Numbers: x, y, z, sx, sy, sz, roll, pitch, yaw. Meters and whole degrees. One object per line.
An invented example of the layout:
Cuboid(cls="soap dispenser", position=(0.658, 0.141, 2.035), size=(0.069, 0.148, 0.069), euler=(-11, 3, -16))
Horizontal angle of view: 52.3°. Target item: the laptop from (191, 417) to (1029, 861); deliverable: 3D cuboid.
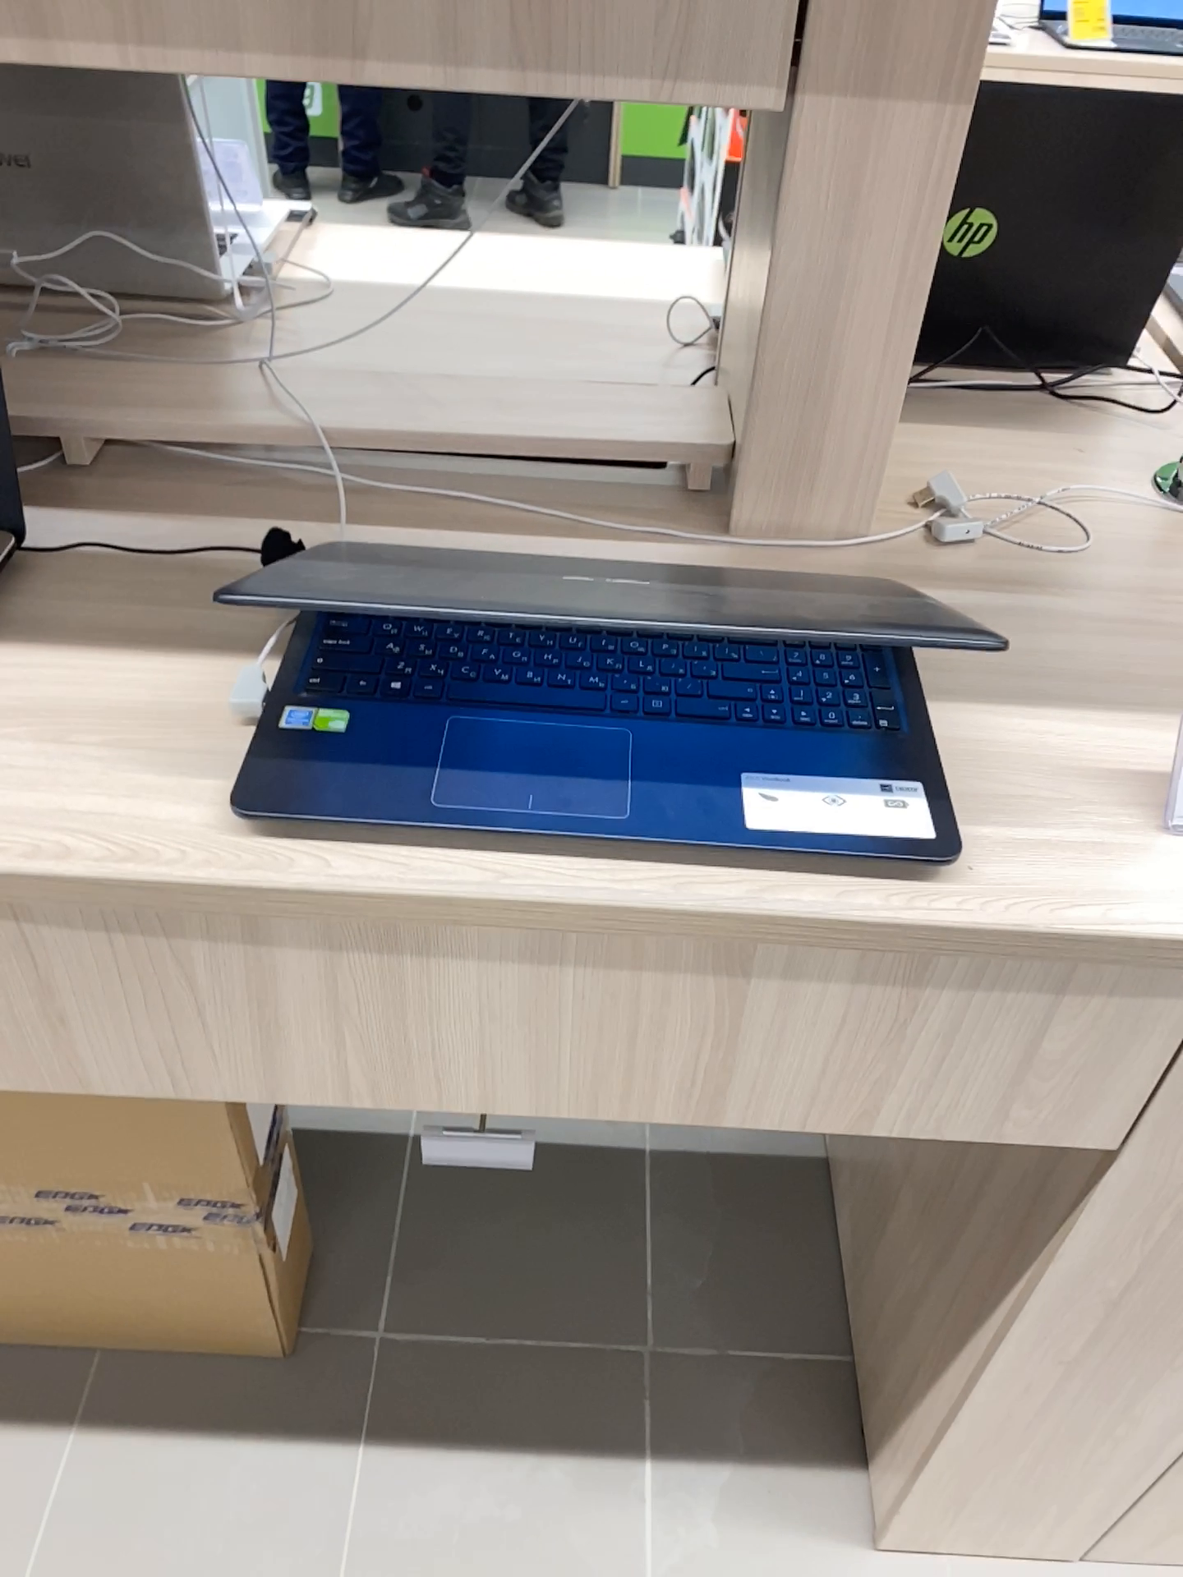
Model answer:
Cuboid(cls="laptop", position=(0.012, -0.093, 0.672), size=(0.385, 0.098, 0.236), euler=(4, 42, 0))
